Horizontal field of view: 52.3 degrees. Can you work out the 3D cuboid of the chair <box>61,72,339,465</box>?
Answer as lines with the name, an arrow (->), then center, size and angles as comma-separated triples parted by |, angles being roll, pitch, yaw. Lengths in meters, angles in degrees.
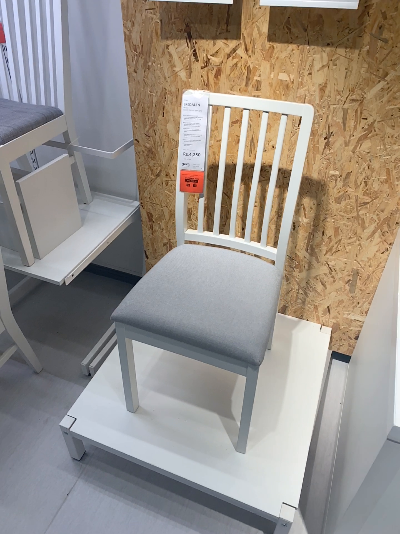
chair -> 0.039, 0.018, 1.135 | 0.430, 0.886, 0.512 | 14, 41, 16
